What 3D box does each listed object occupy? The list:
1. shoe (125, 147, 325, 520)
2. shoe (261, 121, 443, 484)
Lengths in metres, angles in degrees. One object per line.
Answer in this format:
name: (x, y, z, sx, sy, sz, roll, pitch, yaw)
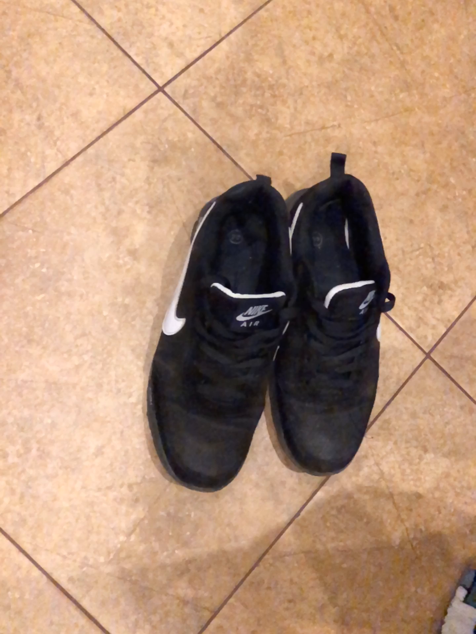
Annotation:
shoe: (-0.014, 0.016, 0.456, 0.110, 0.120, 0.270, 11, 77, -9)
shoe: (0.094, -0.008, 0.492, 0.120, 0.120, 0.300, 3, 79, -11)
